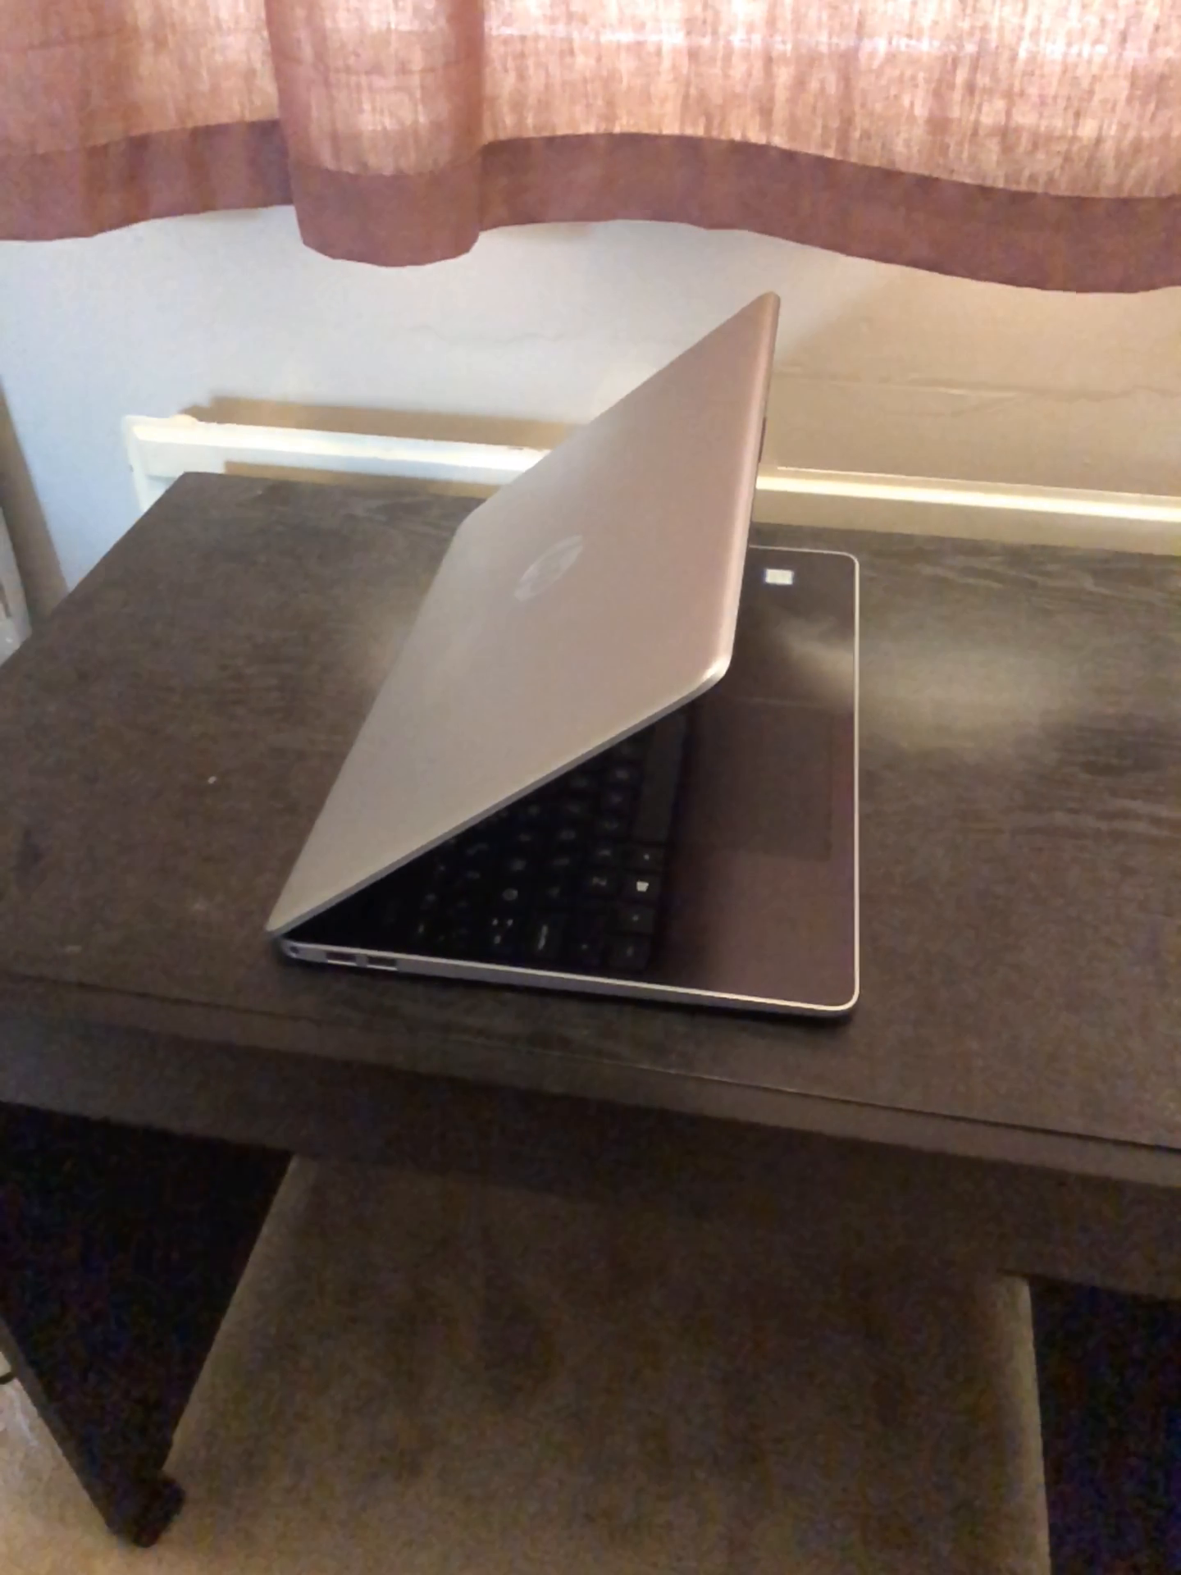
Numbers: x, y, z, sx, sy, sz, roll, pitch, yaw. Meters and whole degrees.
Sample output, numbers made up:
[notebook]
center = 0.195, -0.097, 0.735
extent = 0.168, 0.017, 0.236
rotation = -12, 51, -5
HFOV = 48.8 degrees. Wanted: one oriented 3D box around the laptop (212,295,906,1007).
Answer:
[laptop]
center = 0.017, -0.093, 0.622
extent = 0.236, 0.141, 0.363
rotation = 6, 40, 6
